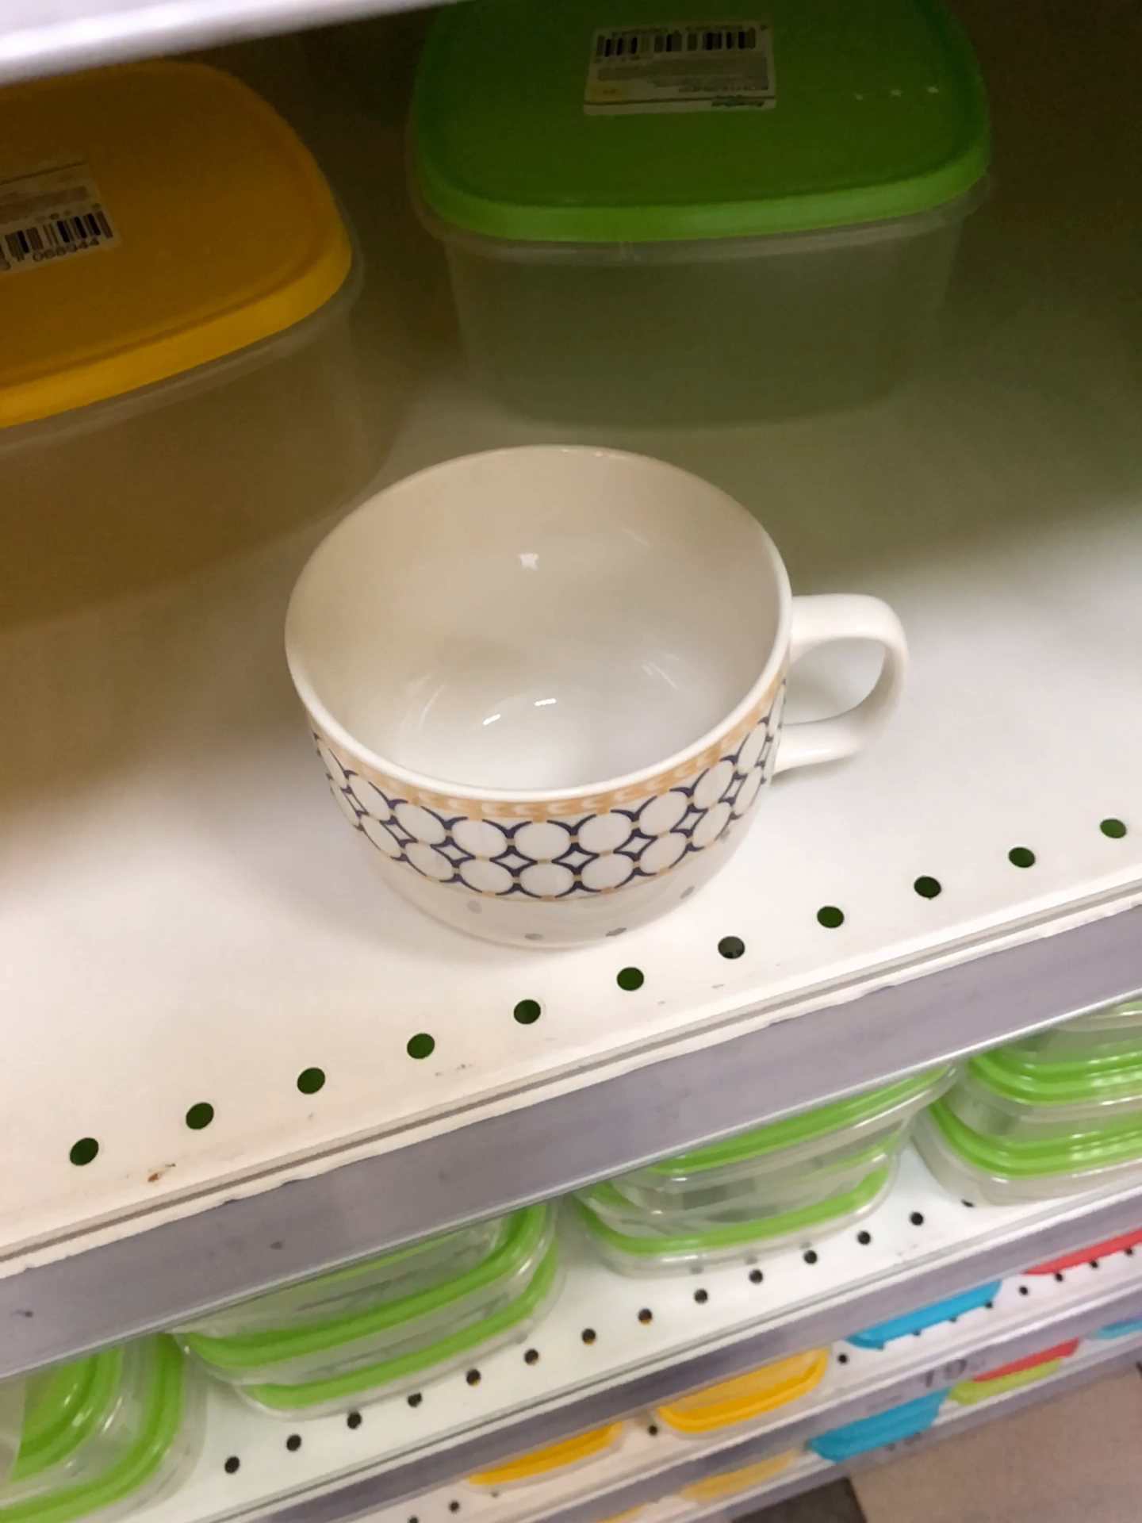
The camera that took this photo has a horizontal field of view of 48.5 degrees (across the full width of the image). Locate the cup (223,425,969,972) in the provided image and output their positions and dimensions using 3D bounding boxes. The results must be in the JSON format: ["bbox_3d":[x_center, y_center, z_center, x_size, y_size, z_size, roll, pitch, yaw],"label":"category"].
[{"bbox_3d":[0.007,-0.015,0.284,0.134,0.062,0.105,0,53,4],"label":"cup"}]
